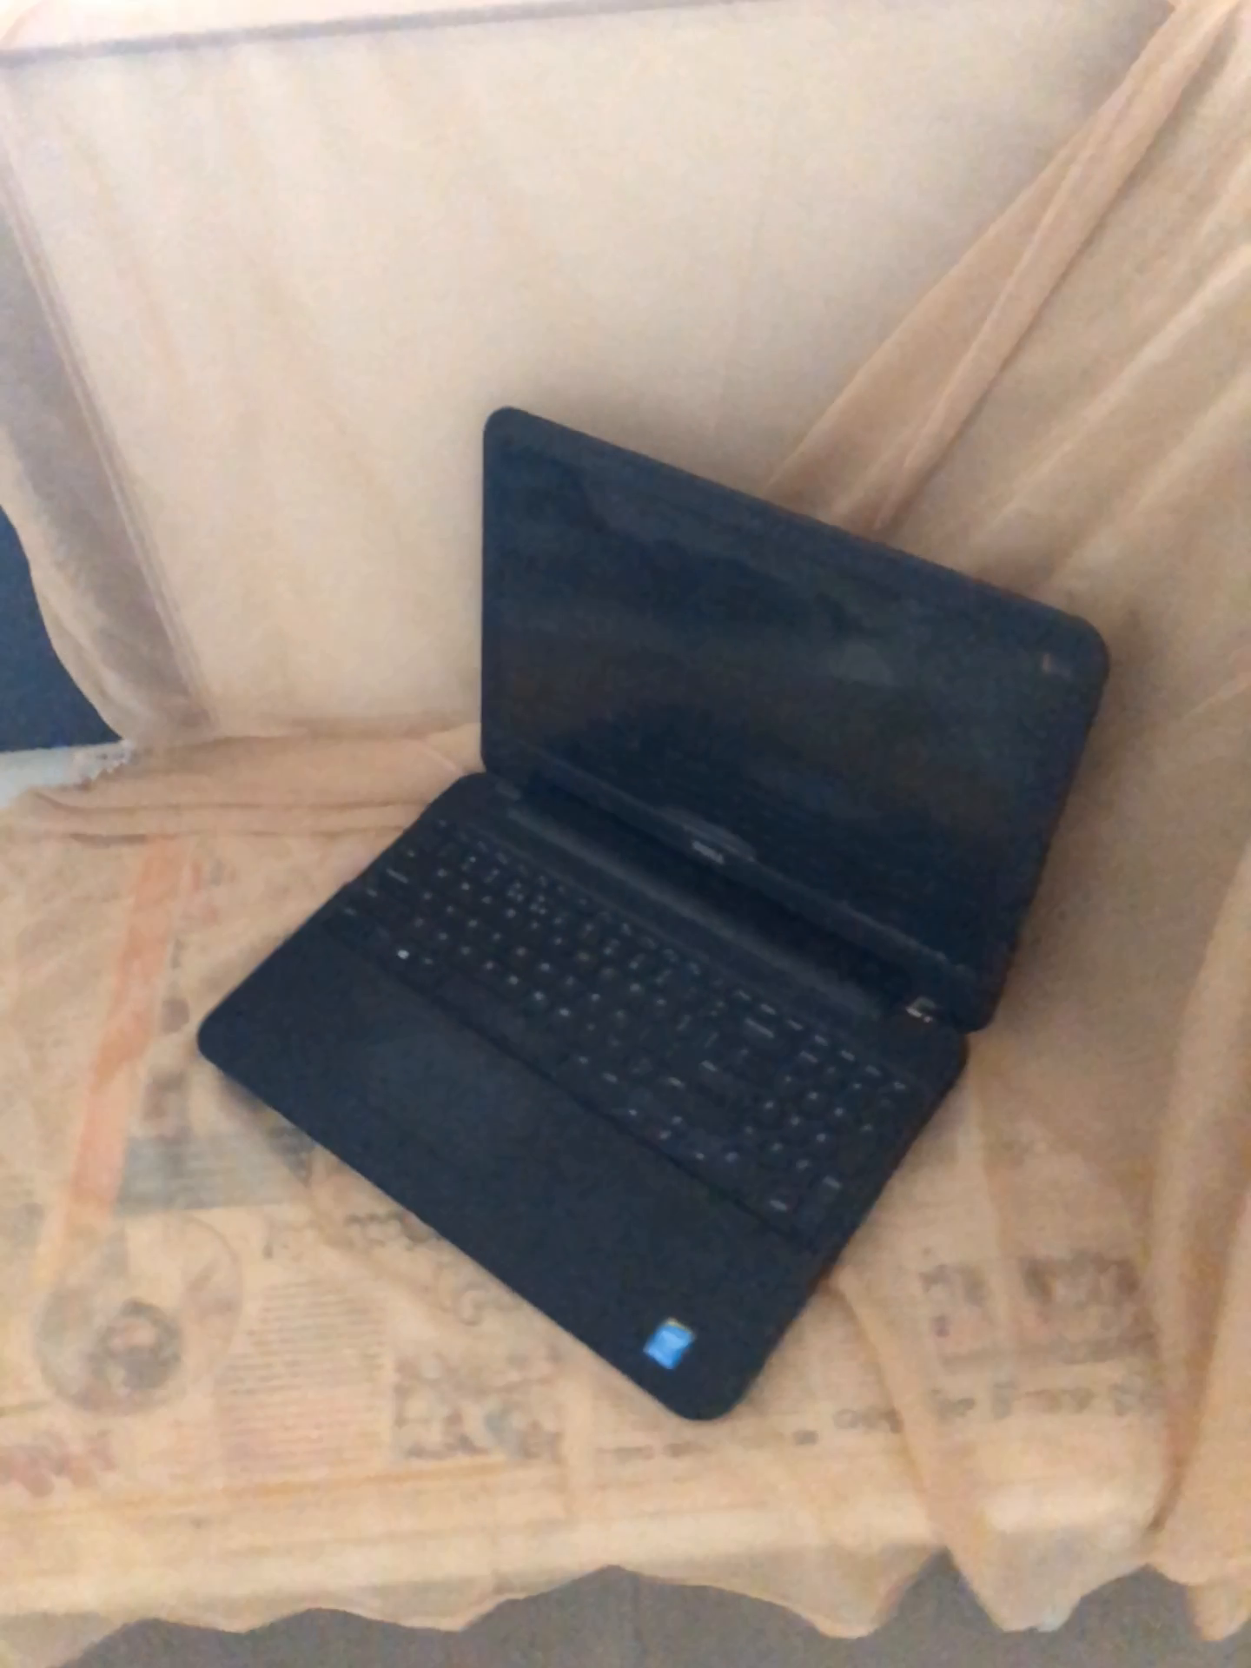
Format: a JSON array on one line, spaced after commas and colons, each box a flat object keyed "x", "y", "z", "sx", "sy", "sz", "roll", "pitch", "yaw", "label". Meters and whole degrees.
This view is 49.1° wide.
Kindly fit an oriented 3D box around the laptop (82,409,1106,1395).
[{"x": -0.009, "y": 0.010, "z": 0.698, "sx": 0.349, "sy": 0.226, "sz": 0.306, "roll": 28, "pitch": 57, "yaw": 27, "label": "laptop"}]
